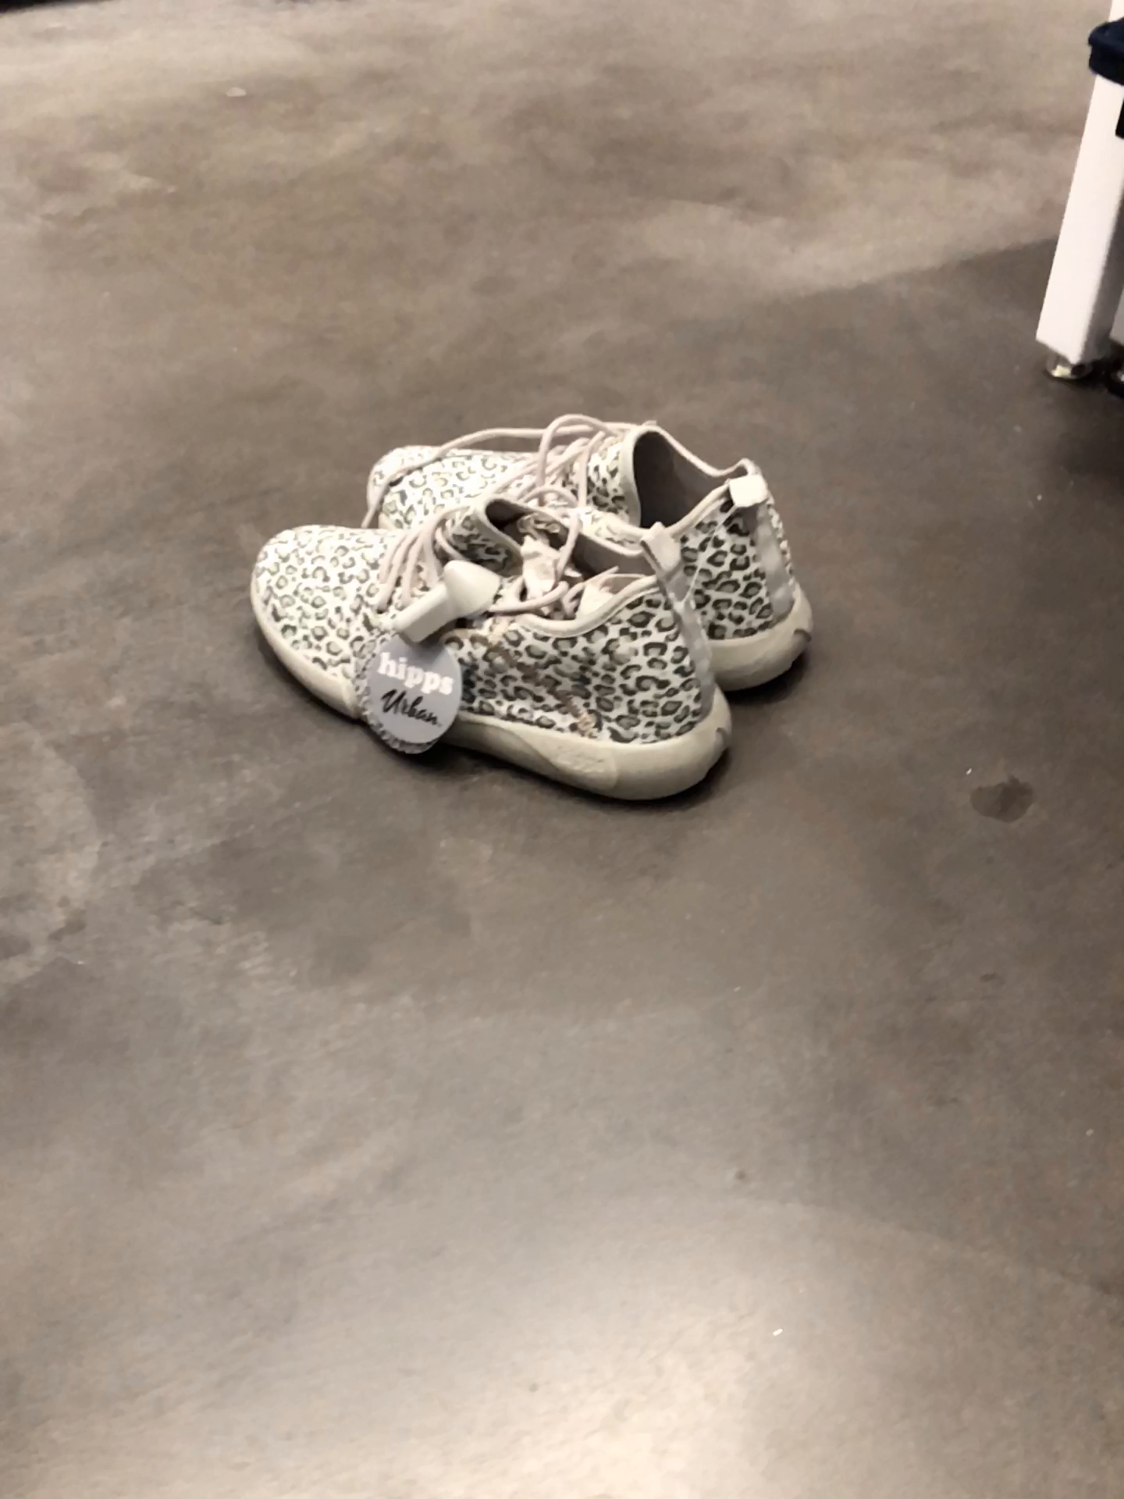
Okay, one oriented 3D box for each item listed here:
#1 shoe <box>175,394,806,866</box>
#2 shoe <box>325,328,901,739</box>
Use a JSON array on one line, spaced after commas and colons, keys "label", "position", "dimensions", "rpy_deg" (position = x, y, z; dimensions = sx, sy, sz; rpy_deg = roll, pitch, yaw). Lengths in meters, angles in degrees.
[{"label": "shoe", "position": [-0.033, -0.062, 0.548], "dimensions": [0.250, 0.099, 0.101], "rpy_deg": [22, 49, 24]}, {"label": "shoe", "position": [0.020, -0.114, 0.606], "dimensions": [0.250, 0.099, 0.101], "rpy_deg": [22, 49, 24]}]
